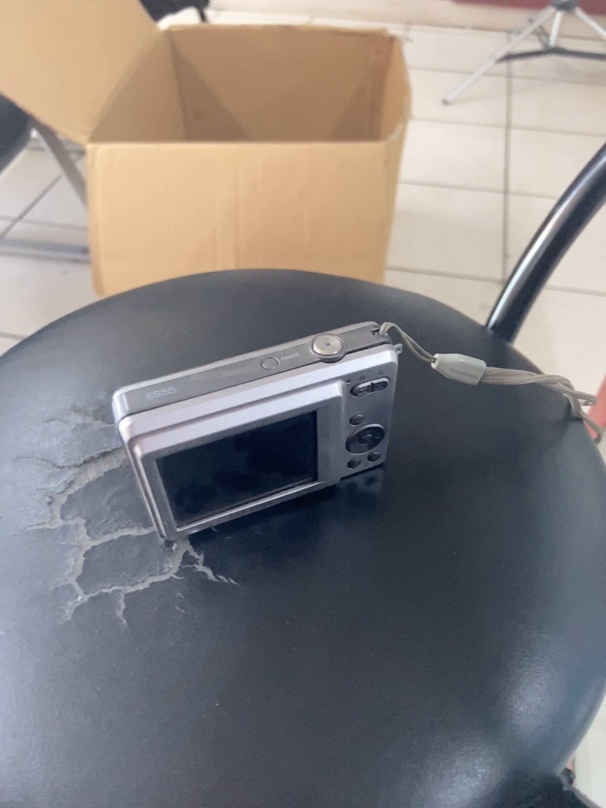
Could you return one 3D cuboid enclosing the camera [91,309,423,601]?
[{"bbox_3d":[-0.014,0.018,0.213,0.090,0.070,0.040,-16,49,-14],"label":"camera"}]
